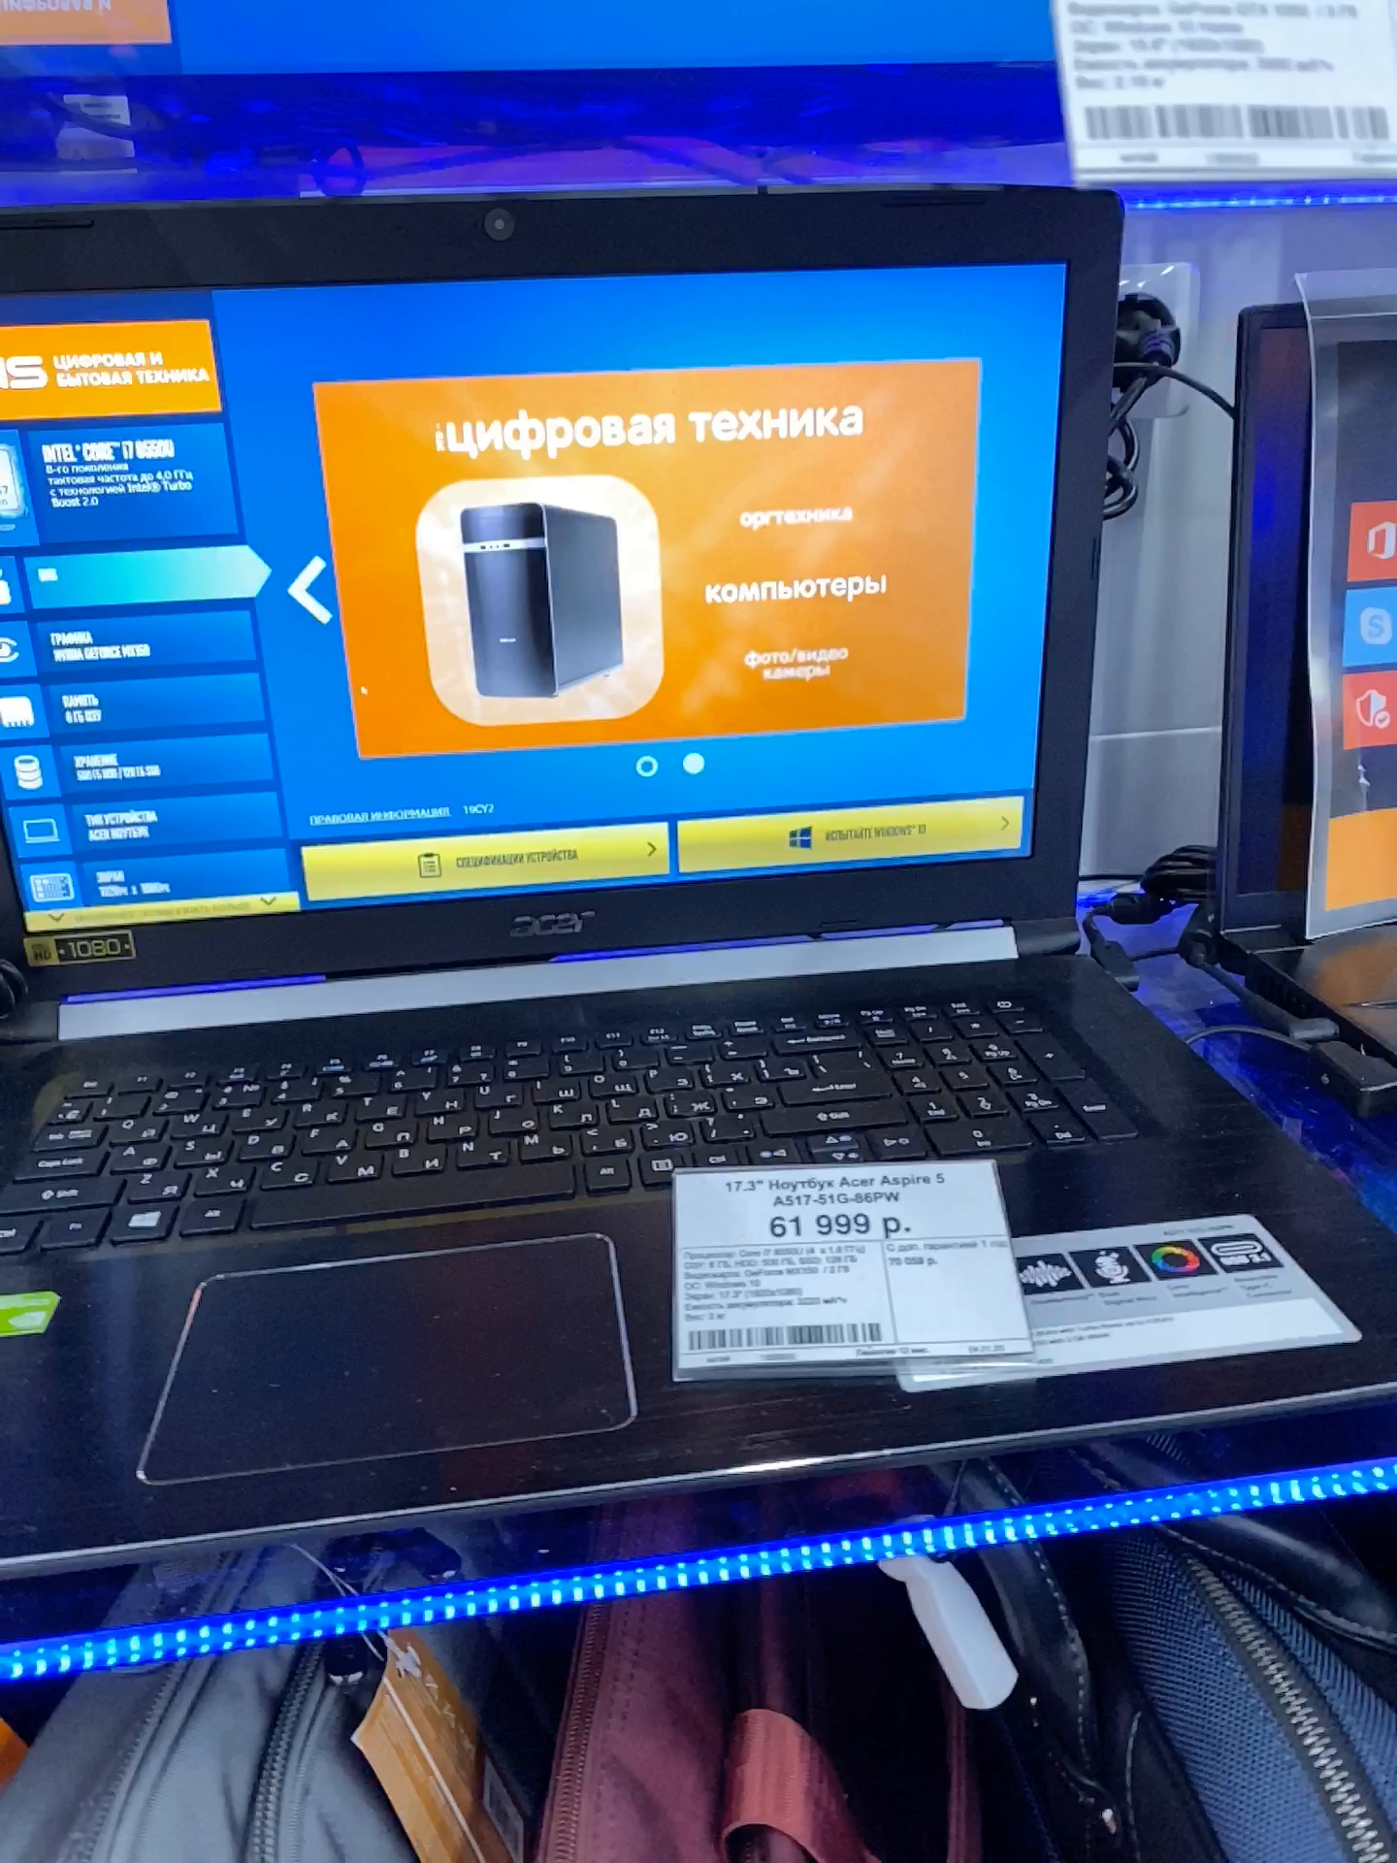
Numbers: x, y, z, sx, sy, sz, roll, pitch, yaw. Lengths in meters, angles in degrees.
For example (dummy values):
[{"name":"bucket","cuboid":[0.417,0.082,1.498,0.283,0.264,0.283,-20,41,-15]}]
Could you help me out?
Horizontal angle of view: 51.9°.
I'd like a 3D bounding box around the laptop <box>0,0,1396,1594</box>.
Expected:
[{"name":"laptop","cuboid":[-0.041,-0.062,0.386,0.421,0.277,0.273,-4,19,-6]}]
